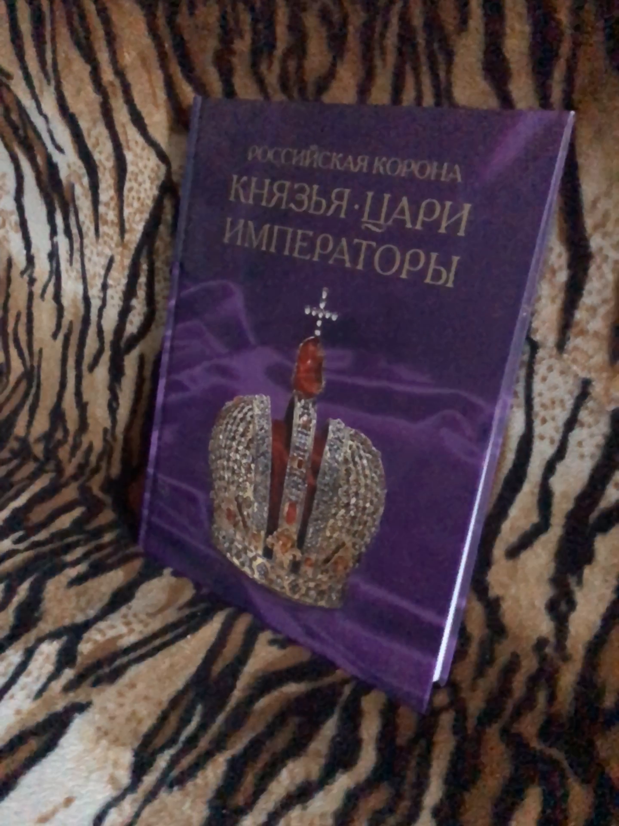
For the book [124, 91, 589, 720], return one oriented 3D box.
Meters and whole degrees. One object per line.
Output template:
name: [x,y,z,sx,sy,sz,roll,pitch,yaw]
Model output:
book: [-0.002,-0.020,0.371,0.223,0.279,0.035,19,16,34]
